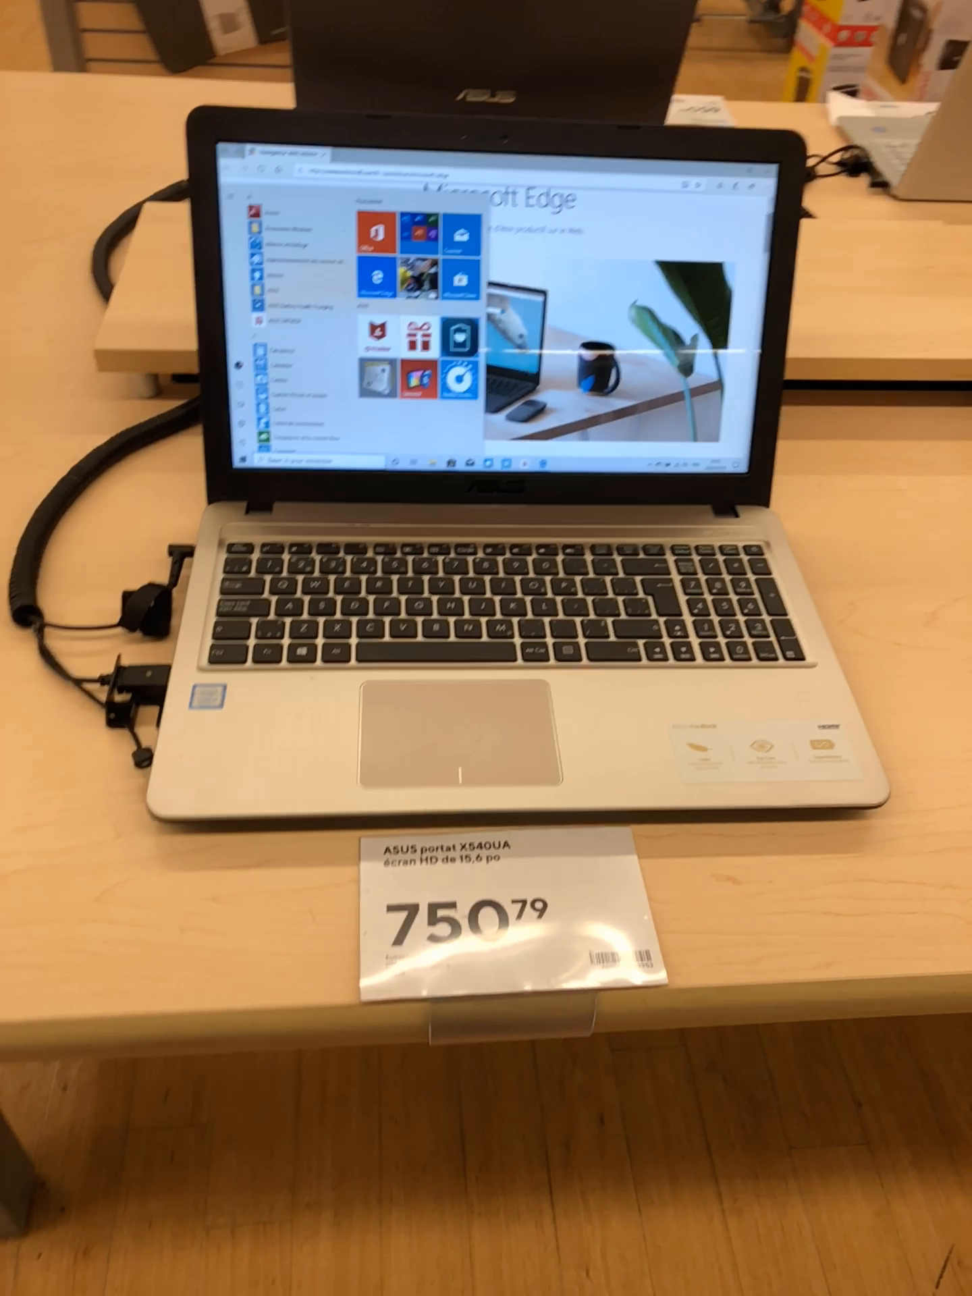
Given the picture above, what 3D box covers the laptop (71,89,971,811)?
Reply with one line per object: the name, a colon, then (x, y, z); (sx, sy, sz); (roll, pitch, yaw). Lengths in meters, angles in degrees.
laptop: (0.015, -0.127, 0.615); (0.383, 0.215, 0.361); (-1, 46, -6)
